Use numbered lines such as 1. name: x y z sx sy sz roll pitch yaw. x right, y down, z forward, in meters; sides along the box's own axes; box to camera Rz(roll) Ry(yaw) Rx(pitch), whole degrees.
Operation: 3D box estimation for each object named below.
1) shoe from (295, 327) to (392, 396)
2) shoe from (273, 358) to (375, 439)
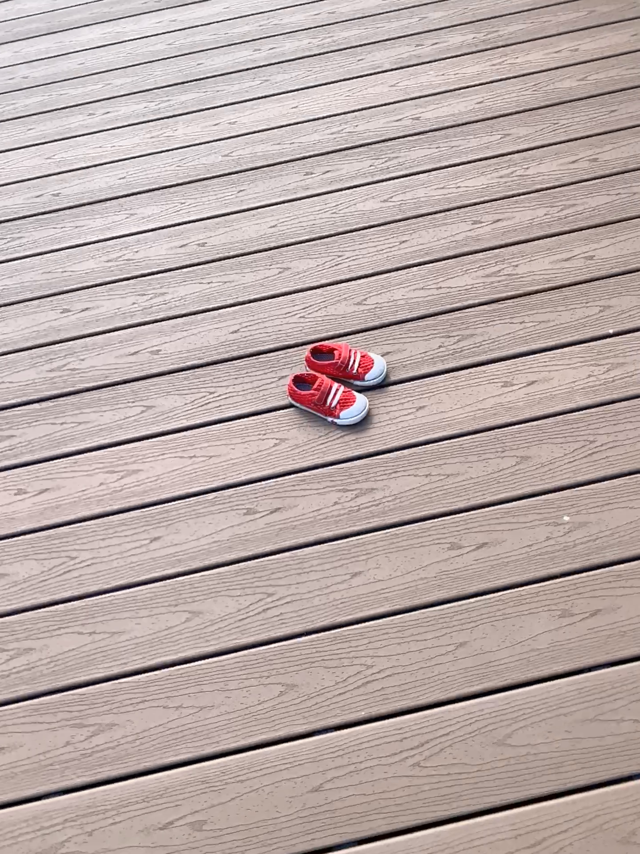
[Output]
1. shoe: 0.051 -0.139 1.353 0.180 0.060 0.090 14 61 14
2. shoe: 0.010 -0.059 1.304 0.180 0.060 0.090 22 64 18
